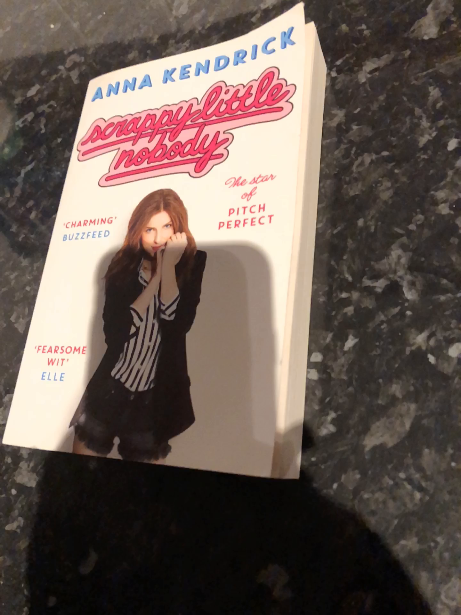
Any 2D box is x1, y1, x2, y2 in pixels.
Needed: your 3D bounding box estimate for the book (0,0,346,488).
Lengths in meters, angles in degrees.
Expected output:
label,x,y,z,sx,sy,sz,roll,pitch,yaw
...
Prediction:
label,x,y,z,sx,sy,sz,roll,pitch,yaw
book,-0.026,-0.036,0.240,0.140,0.050,0.210,0,71,23
